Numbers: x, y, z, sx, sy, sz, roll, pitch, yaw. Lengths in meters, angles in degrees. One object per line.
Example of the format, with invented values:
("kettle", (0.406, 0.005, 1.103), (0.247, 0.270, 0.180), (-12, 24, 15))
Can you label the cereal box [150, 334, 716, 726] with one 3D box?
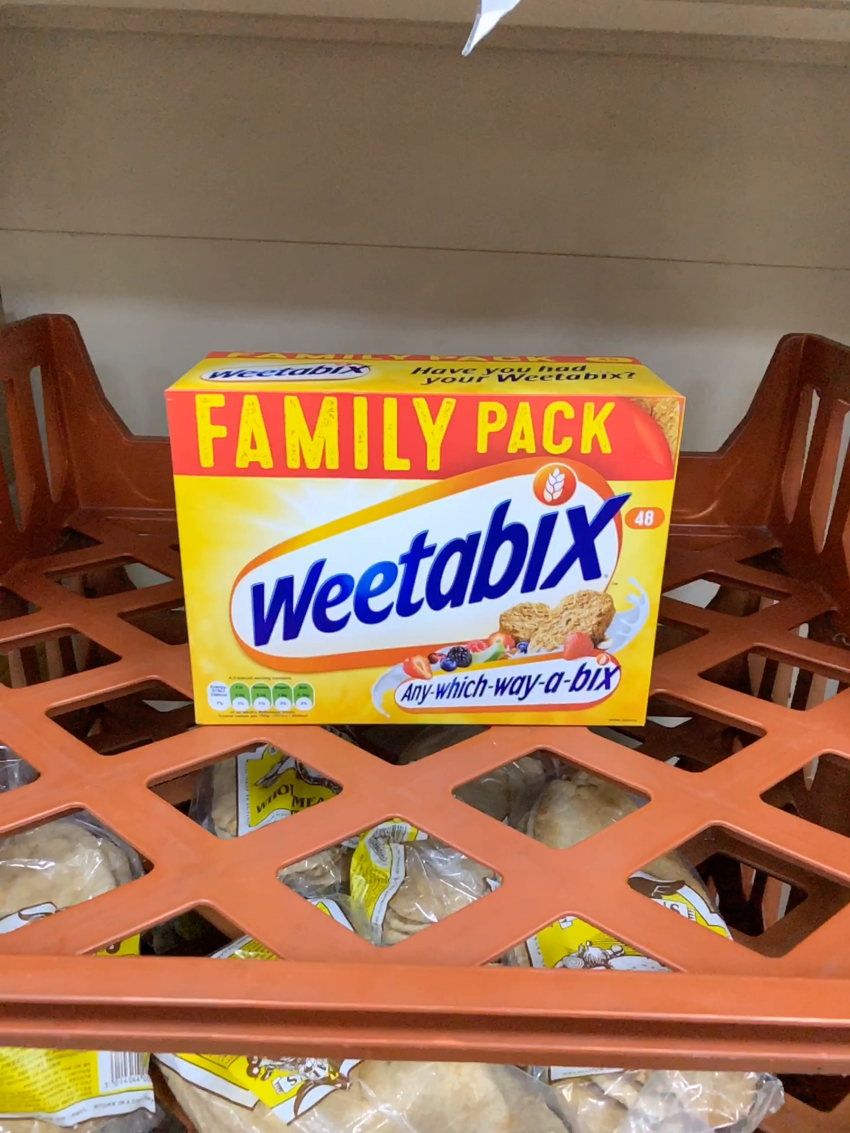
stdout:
("cereal box", (0.001, -0.021, 0.482), (0.260, 0.188, 0.101), (1, 23, -3))
